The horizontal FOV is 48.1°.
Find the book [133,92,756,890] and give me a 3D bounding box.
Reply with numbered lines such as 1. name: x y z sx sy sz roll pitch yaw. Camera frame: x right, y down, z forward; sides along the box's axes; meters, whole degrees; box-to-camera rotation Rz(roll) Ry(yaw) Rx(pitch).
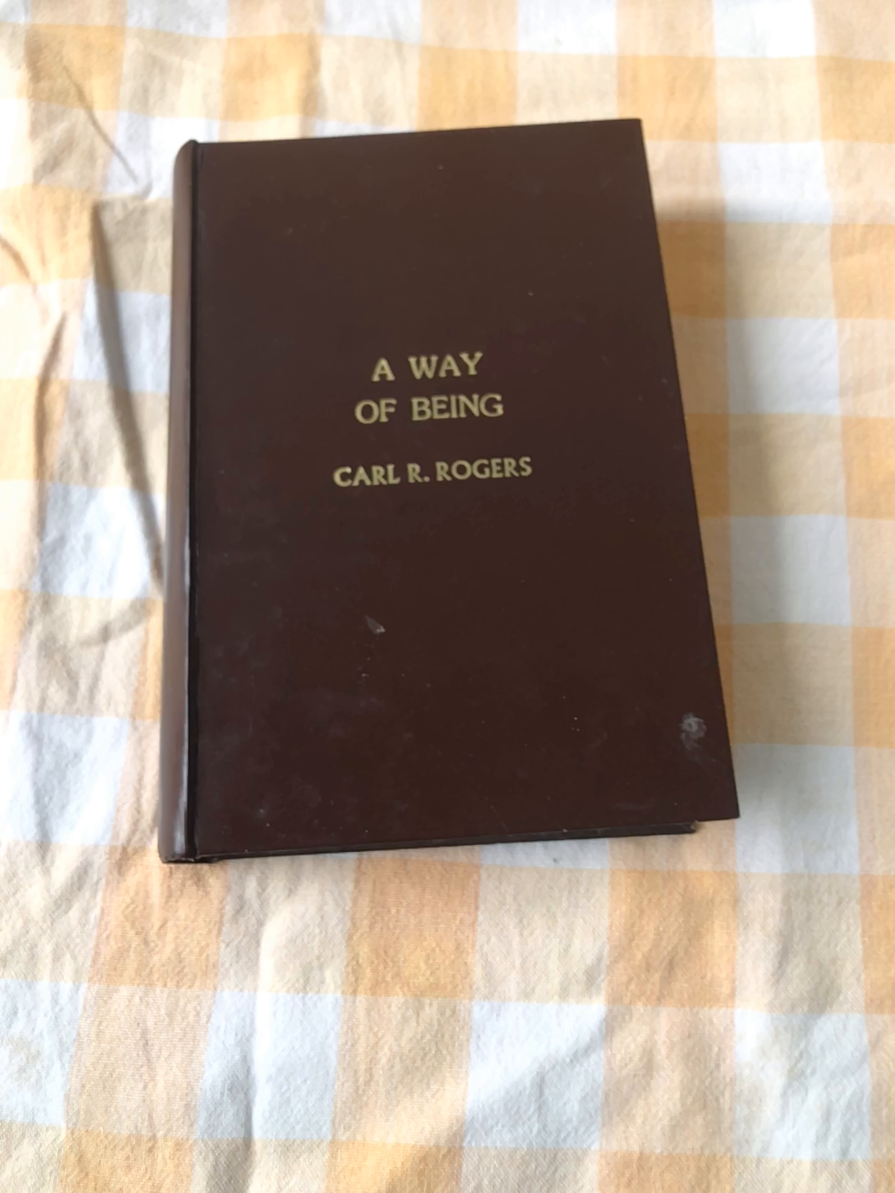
1. book: -0.006 -0.031 0.284 0.140 0.060 0.210 -3 74 -1
